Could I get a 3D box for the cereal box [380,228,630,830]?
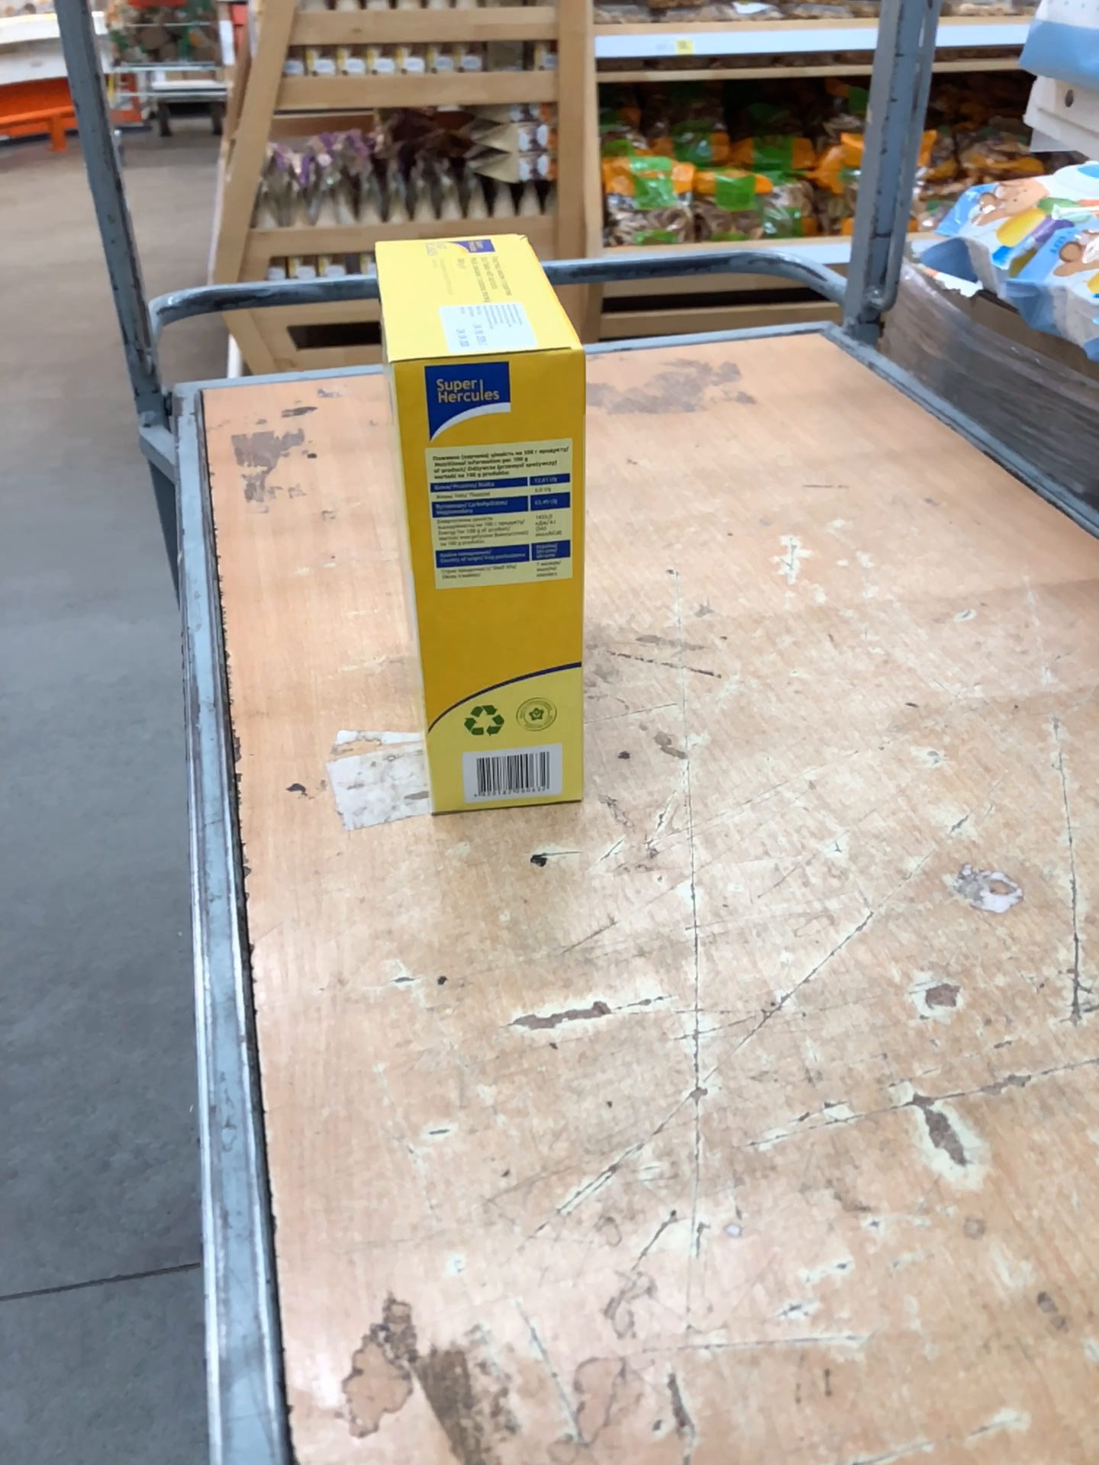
[{"bbox_3d":[-0.022,-0.088,0.505,0.080,0.199,0.151,-4,35,-5],"label":"cereal box"}]
